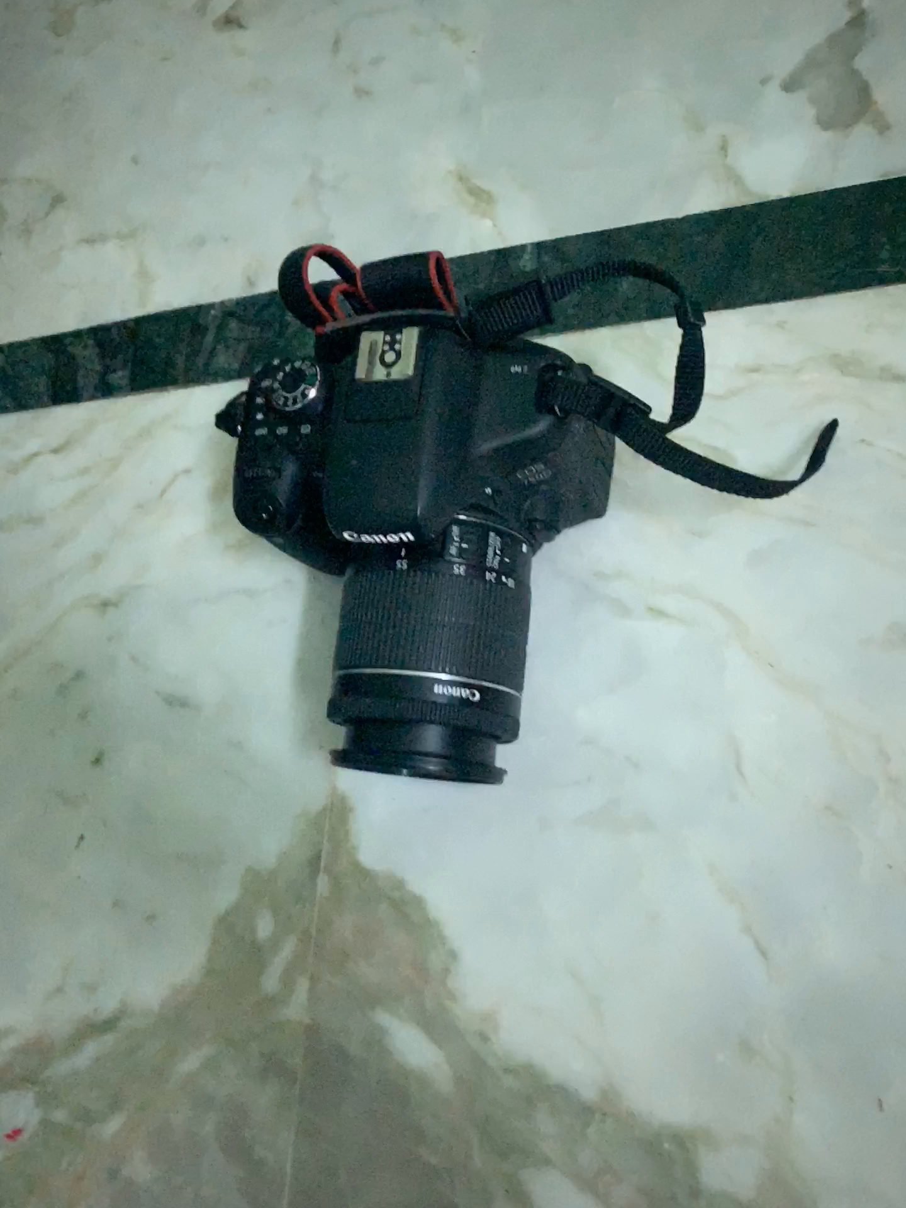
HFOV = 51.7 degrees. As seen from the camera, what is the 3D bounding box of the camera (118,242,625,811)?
[{"bbox_3d":[-0.017,-0.018,0.331,0.128,0.100,0.160,0,73,22],"label":"camera"}]
